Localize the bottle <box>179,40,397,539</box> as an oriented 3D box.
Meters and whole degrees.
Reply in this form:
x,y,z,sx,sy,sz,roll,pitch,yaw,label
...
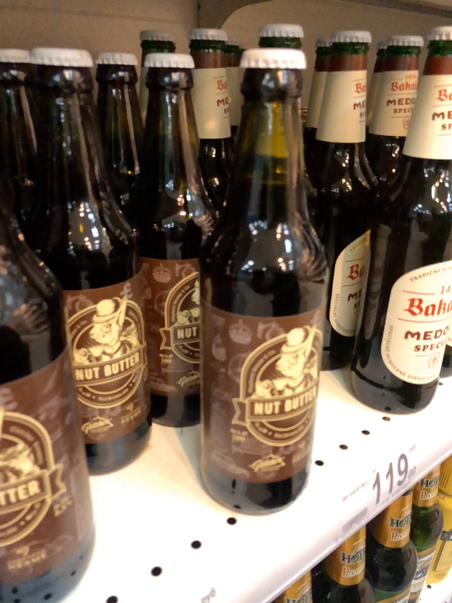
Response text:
x,y,z,sx,sy,sz,roll,pitch,yaw,label
0.023,0.001,0.259,0.070,0.240,0.060,-14,28,-30,bottle
